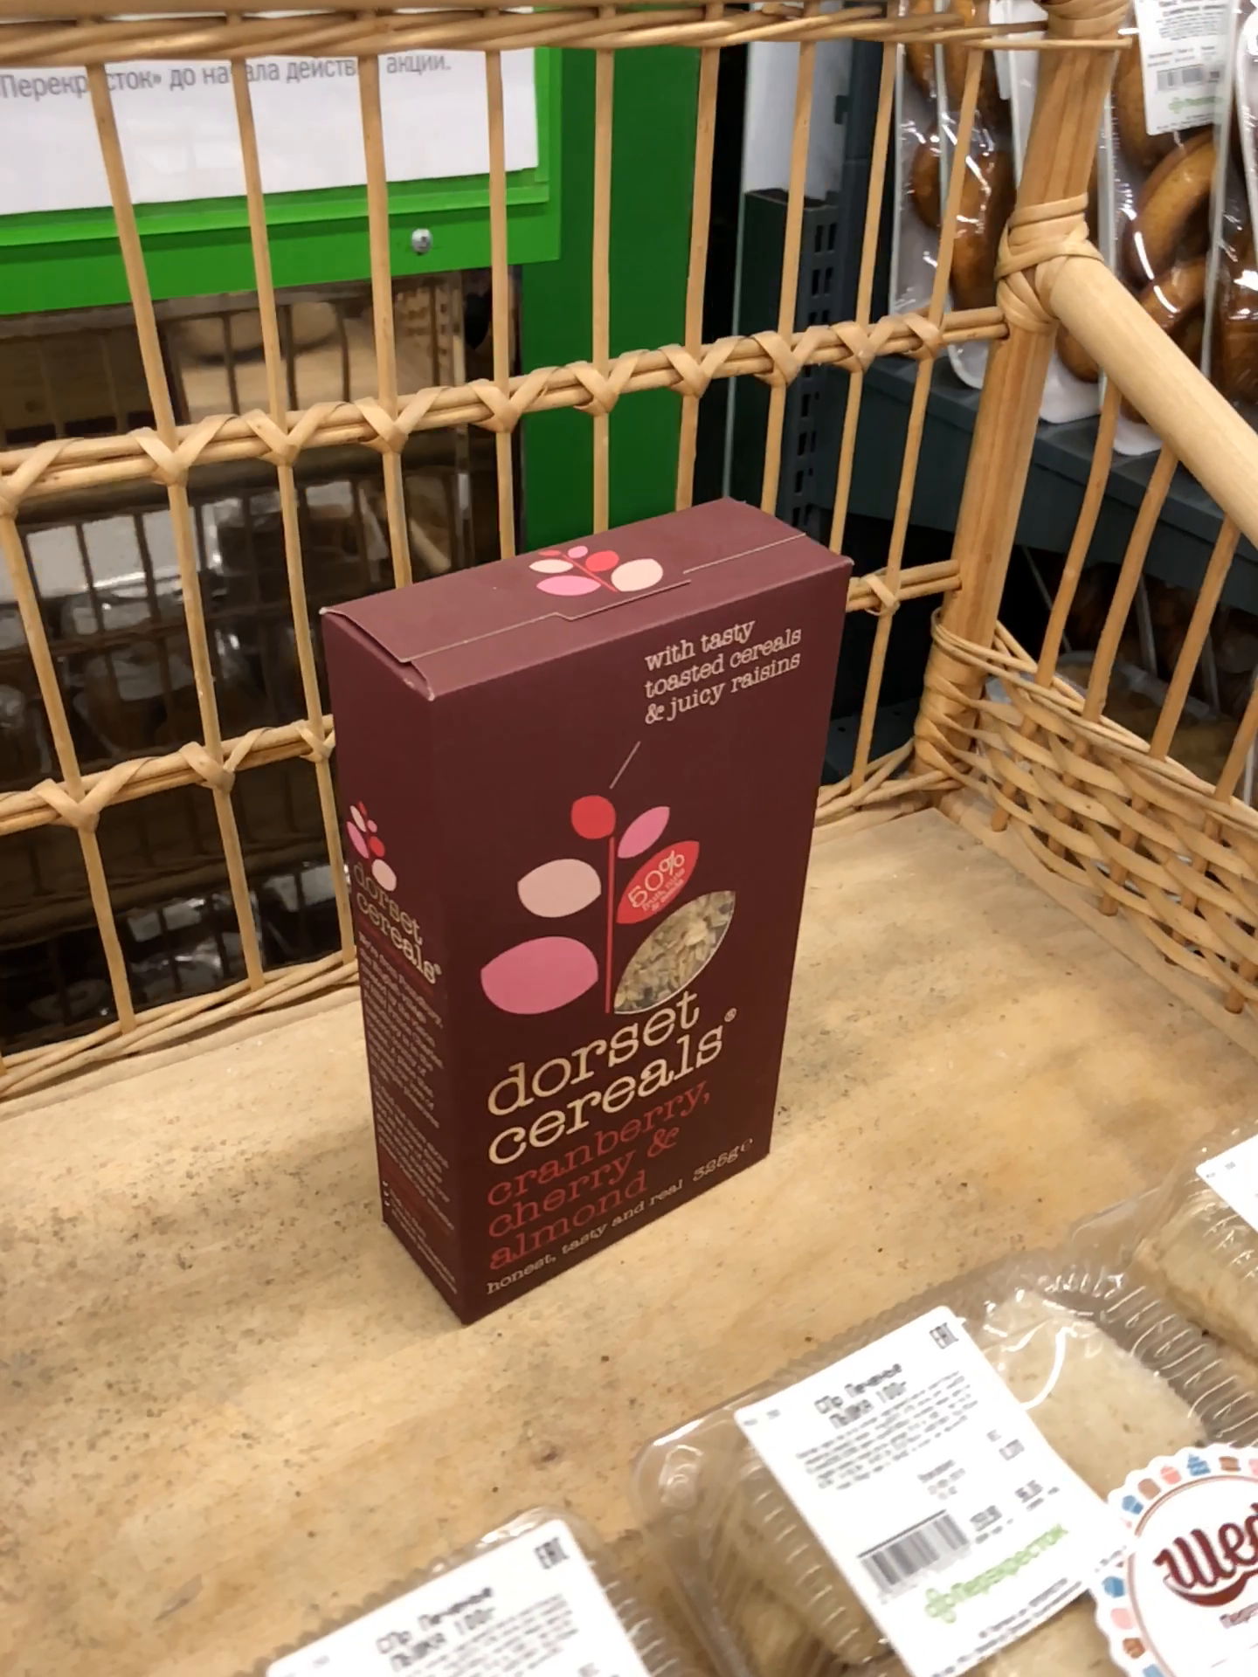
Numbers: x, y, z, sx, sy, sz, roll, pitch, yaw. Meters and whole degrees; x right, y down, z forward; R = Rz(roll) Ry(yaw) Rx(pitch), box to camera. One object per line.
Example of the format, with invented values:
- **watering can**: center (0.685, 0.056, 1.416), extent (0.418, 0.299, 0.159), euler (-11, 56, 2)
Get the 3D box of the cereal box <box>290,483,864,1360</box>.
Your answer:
- **cereal box**: center (-0.011, 0.026, 0.368), extent (0.120, 0.209, 0.050), euler (-22, 42, -30)
